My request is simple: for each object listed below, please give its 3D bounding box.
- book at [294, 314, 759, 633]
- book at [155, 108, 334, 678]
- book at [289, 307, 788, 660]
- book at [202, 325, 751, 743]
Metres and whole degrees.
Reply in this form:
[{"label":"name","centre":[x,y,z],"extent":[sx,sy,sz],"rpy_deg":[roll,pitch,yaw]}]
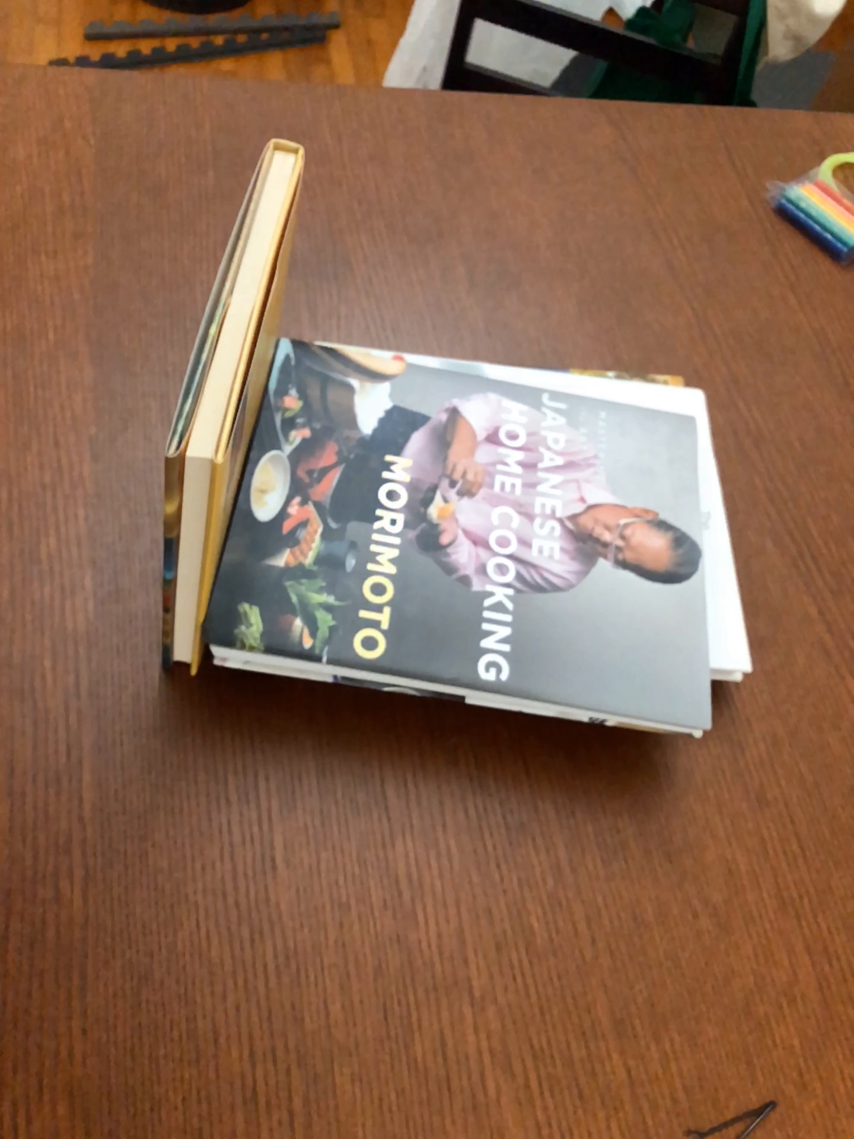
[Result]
[{"label":"book","centre":[0.057,-0.067,0.626],"extent":[0.280,0.030,0.221],"rpy_deg":[2,59,-9]},{"label":"book","centre":[-0.095,-0.082,0.498],"extent":[0.030,0.209,0.211],"rpy_deg":[12,59,-7]},{"label":"book","centre":[0.063,-0.058,0.589],"extent":[0.280,0.030,0.221],"rpy_deg":[4,58,-8]},{"label":"book","centre":[0.035,-0.028,0.546],"extent":[0.280,0.030,0.221],"rpy_deg":[9,58,-5]}]
